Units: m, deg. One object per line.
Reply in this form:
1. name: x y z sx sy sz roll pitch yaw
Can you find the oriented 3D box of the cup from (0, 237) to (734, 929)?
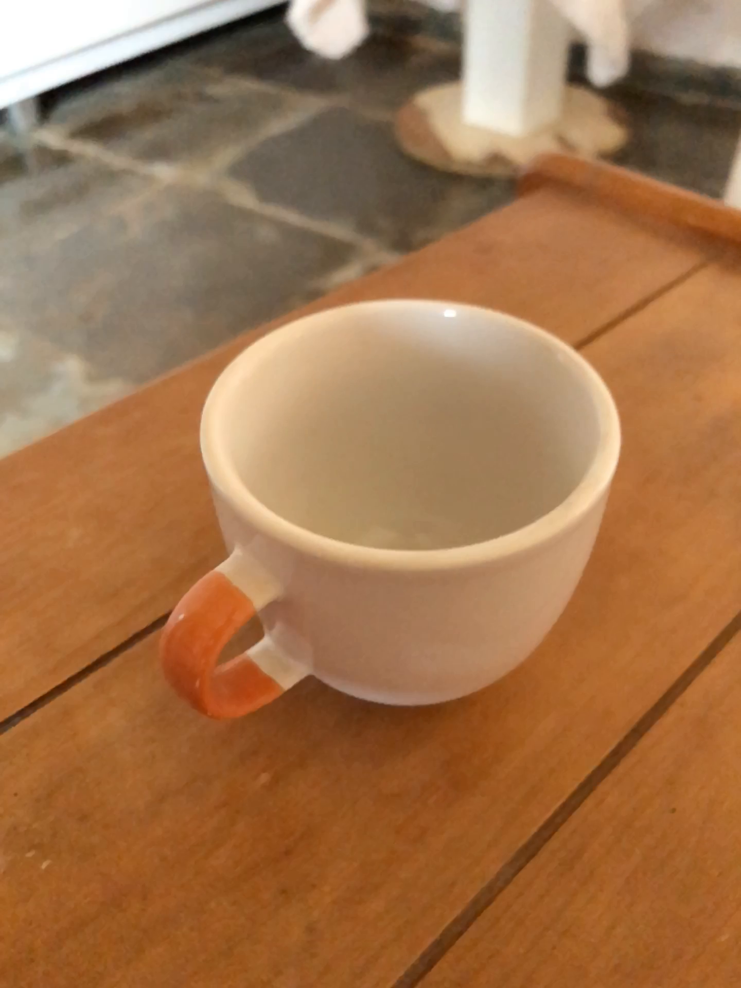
1. cup: 0.001 0.006 0.180 0.090 0.060 0.111 33 54 31
